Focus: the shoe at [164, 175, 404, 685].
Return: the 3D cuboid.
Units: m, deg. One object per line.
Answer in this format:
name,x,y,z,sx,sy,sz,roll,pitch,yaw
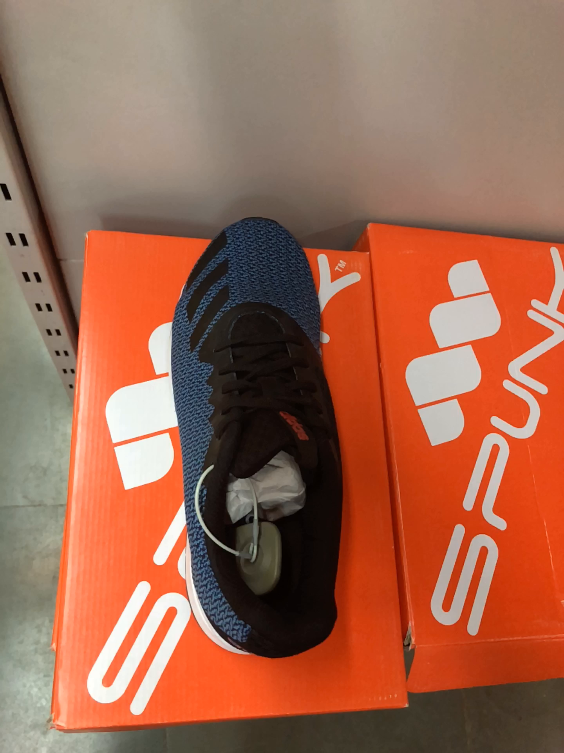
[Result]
shoe,-0.015,0.031,0.376,0.105,0.136,0.254,1,71,-11
